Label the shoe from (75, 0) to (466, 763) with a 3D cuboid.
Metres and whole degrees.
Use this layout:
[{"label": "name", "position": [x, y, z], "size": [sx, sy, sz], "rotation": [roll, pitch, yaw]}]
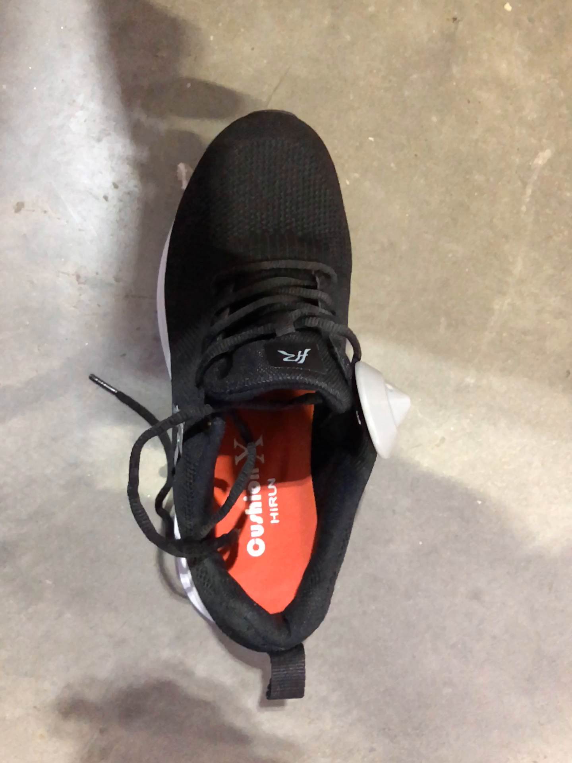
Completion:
[{"label": "shoe", "position": [-0.006, -0.008, 0.283], "size": [0.130, 0.120, 0.280], "rotation": [2, 85, -7]}]
